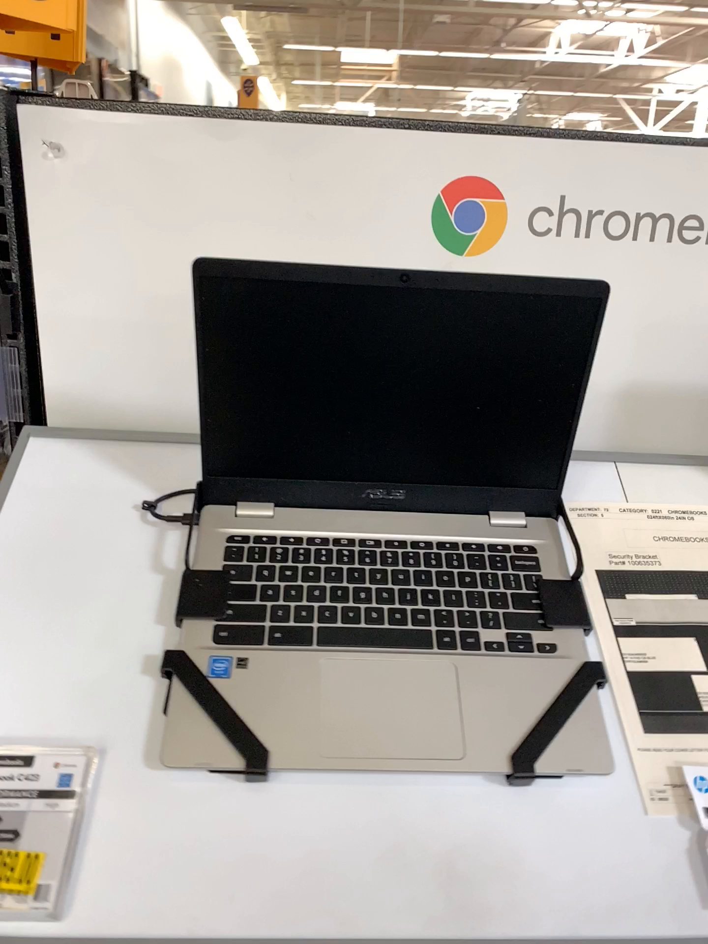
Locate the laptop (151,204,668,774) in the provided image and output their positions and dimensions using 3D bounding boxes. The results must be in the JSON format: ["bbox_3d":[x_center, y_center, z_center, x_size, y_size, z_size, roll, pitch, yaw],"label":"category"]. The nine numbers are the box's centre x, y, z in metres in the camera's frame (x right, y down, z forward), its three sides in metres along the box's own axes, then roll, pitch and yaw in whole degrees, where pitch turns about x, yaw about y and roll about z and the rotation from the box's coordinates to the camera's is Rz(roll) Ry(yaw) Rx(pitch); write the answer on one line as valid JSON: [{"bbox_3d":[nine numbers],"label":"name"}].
[{"bbox_3d":[0.029,-0.007,0.560,0.308,0.196,0.294,2,40,-4],"label":"laptop"}]
